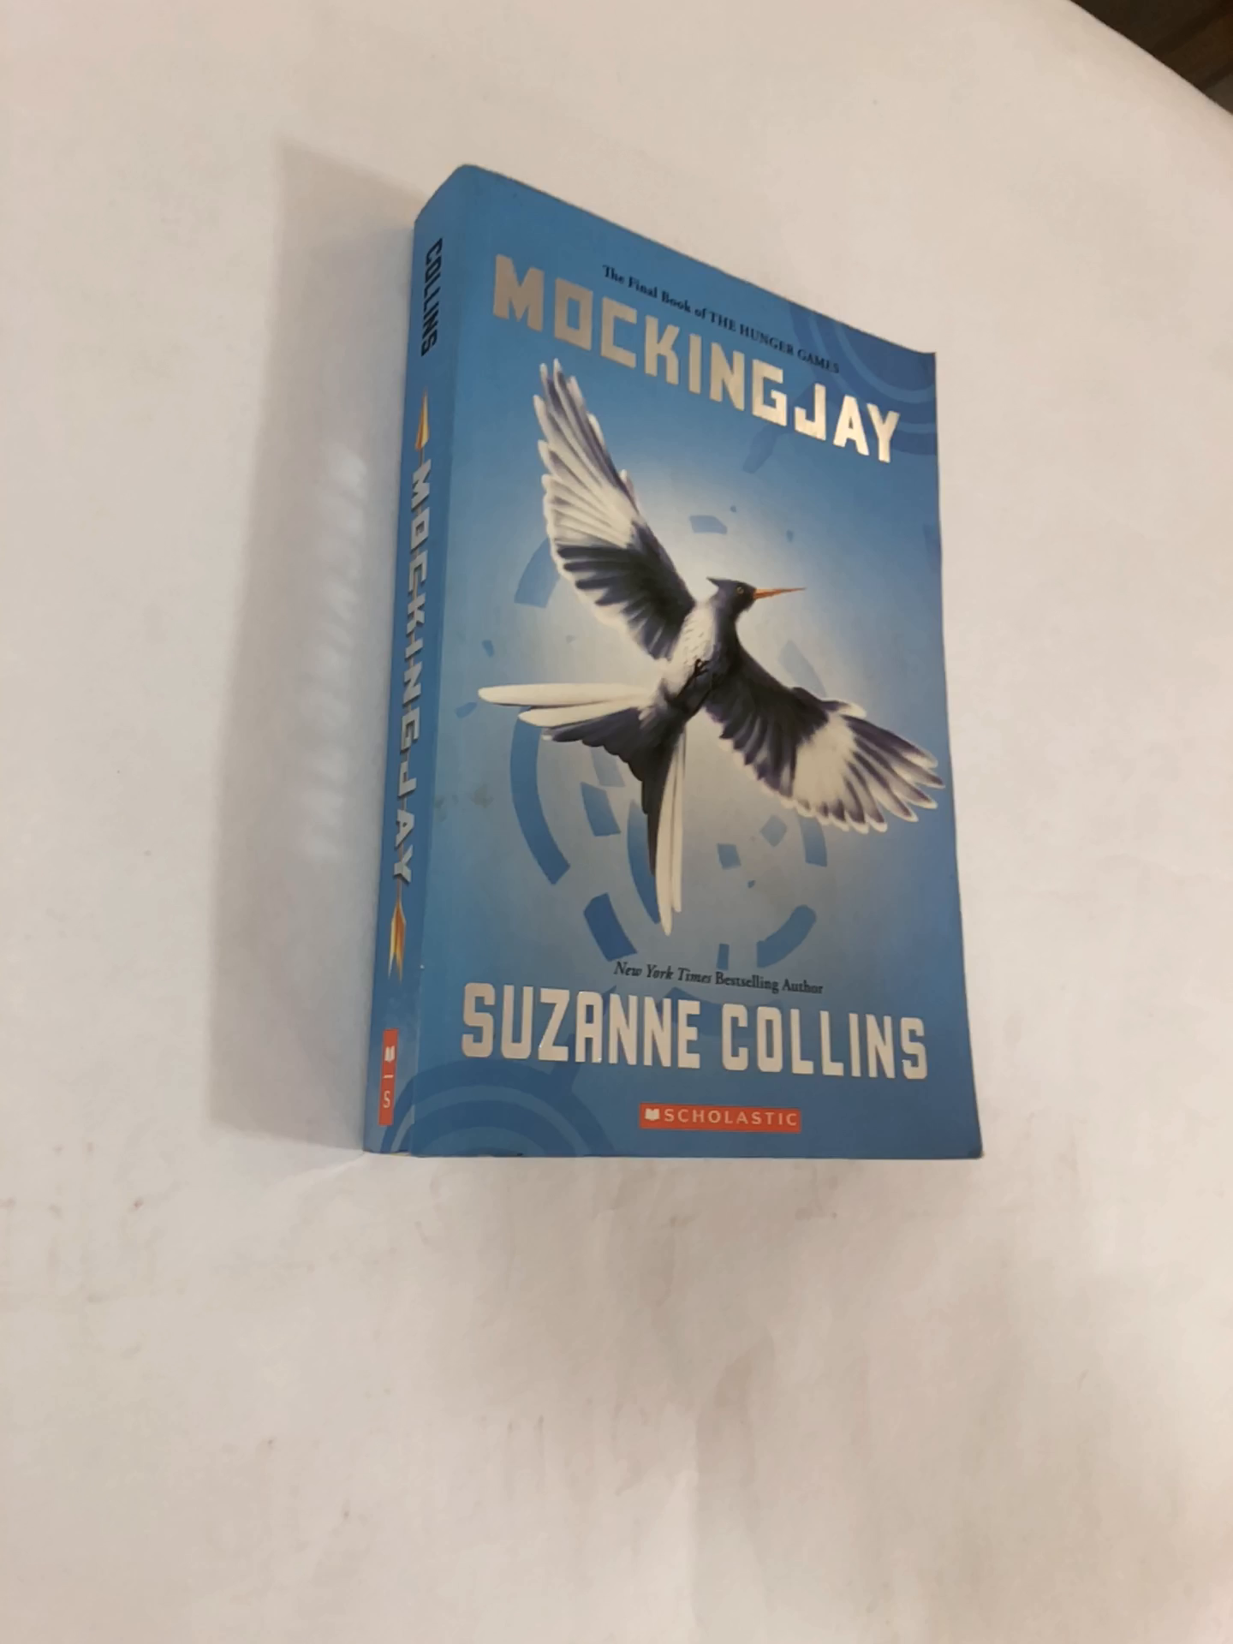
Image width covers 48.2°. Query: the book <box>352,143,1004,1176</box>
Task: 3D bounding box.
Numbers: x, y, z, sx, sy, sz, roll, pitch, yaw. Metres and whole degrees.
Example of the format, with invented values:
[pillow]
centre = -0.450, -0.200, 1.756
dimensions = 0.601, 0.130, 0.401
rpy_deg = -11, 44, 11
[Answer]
[book]
centre = 0.020, -0.025, 0.292
dimensions = 0.139, 0.029, 0.190
rpy_deg = 9, 75, -33
